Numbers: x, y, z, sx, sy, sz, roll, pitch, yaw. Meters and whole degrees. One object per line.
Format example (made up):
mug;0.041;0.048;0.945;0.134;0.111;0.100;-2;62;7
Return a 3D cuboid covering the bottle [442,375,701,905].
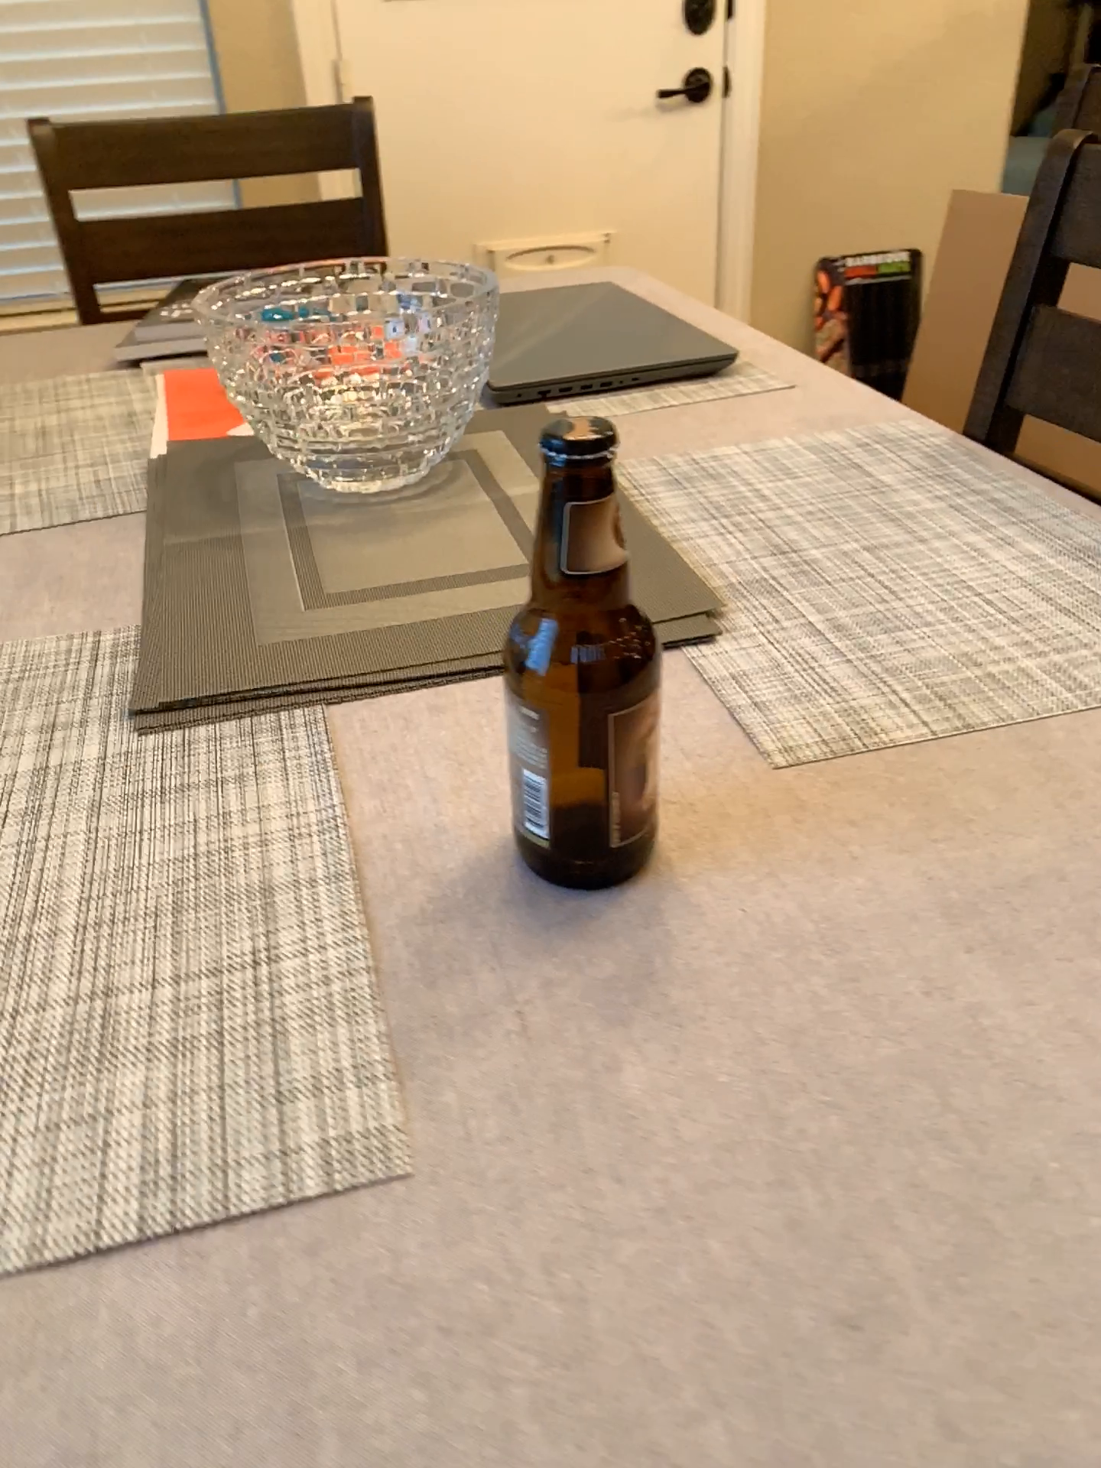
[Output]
bottle;0.008;-0.035;0.454;0.080;0.189;0.080;-2;33;1
